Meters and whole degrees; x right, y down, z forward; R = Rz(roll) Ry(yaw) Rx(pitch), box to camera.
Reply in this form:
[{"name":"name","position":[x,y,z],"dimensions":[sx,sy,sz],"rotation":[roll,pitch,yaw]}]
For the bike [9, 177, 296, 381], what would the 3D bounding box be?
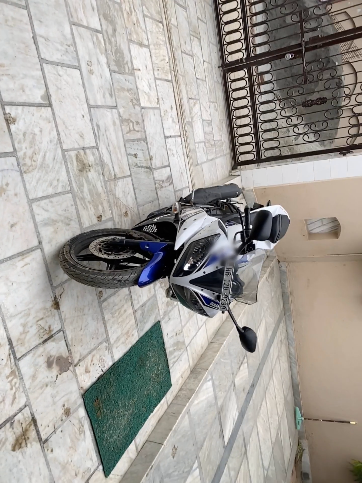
[{"name":"bike","position":[0.055,0.067,2.562],"dimensions":[1.893,0.902,0.733],"rotation":[-26,111,-56]}]
